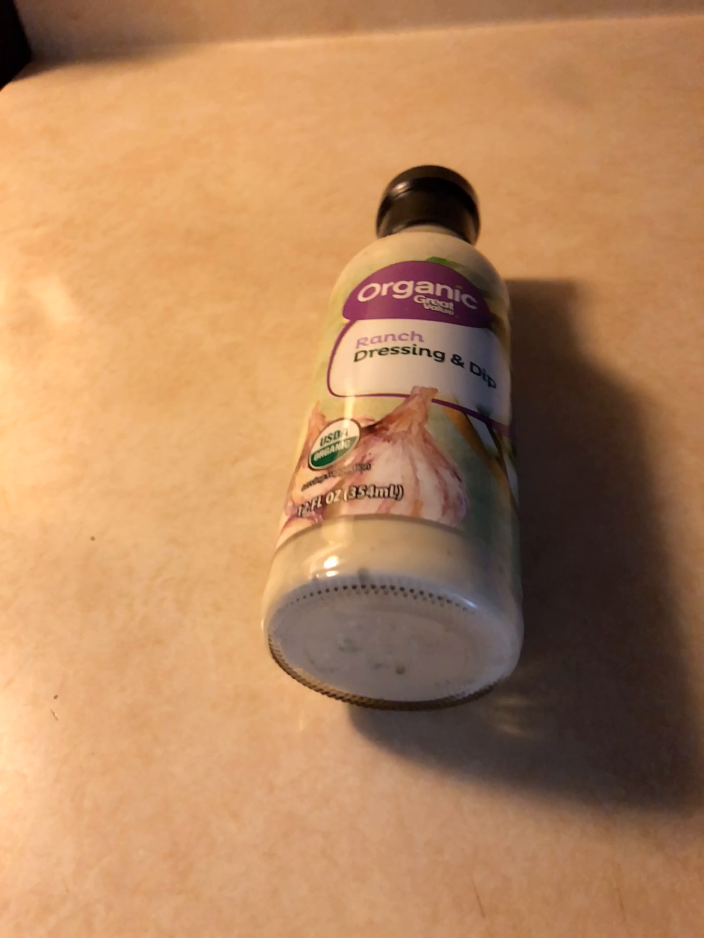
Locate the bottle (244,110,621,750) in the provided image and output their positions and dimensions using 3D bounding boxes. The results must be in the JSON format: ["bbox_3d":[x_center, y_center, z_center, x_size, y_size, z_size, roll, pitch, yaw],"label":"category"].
[{"bbox_3d":[0.024,-0.038,0.250,0.070,0.060,0.230,7,44,1],"label":"bottle"}]
